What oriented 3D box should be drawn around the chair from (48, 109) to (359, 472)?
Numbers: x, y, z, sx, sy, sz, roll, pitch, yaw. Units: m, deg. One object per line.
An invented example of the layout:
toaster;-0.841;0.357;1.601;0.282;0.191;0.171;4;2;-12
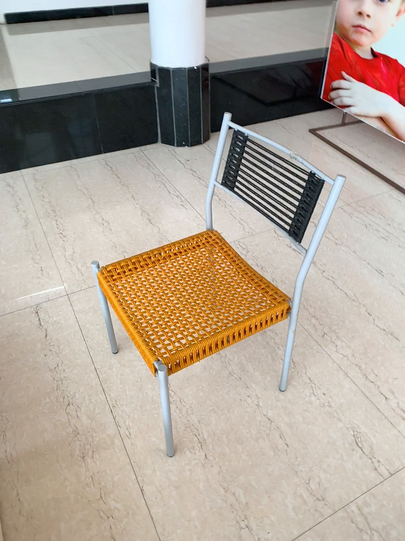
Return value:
chair;-0.027;0.040;1.185;0.521;0.744;0.534;-20;44;-22
